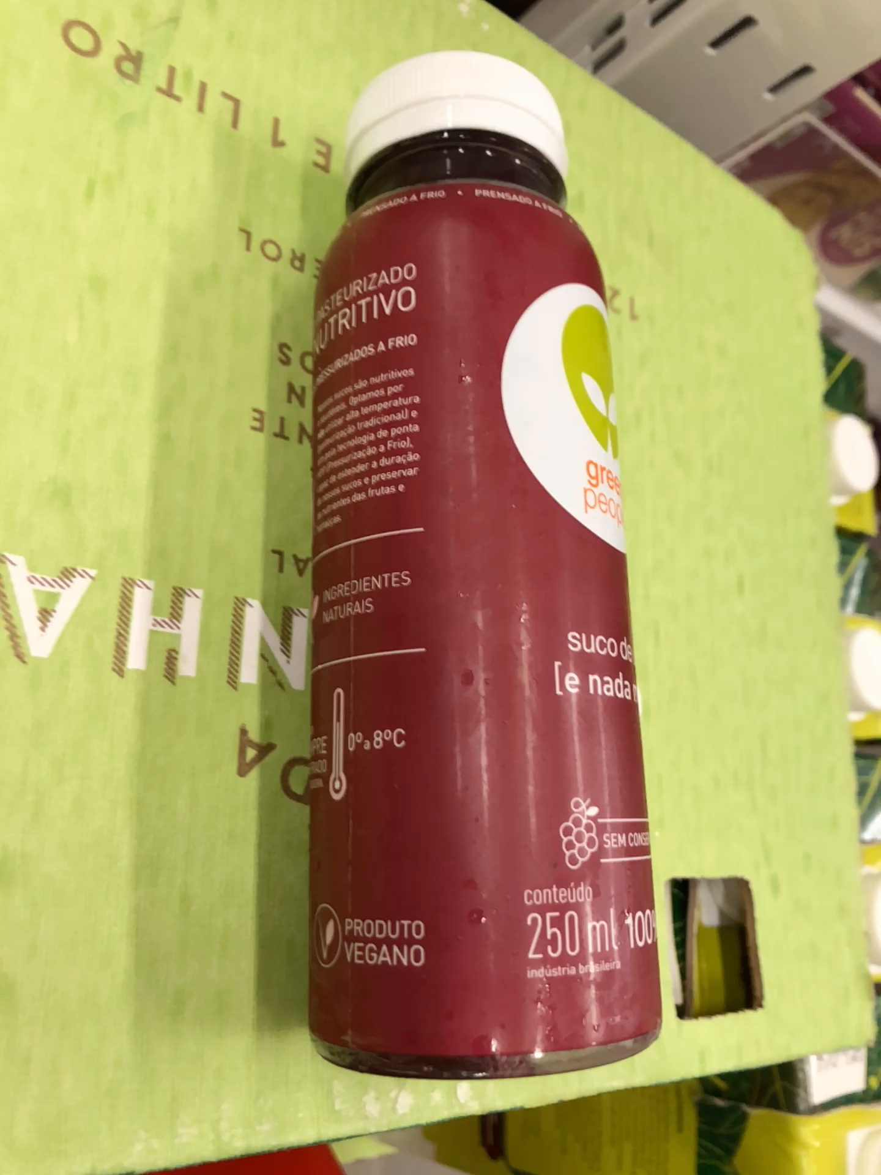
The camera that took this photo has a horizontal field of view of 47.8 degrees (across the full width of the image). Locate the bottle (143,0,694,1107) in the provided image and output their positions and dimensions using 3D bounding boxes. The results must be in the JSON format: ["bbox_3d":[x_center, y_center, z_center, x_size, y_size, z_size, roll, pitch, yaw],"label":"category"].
[{"bbox_3d":[0.000,-0.016,0.168,0.060,0.060,0.170,23,63,-58],"label":"bottle"}]
